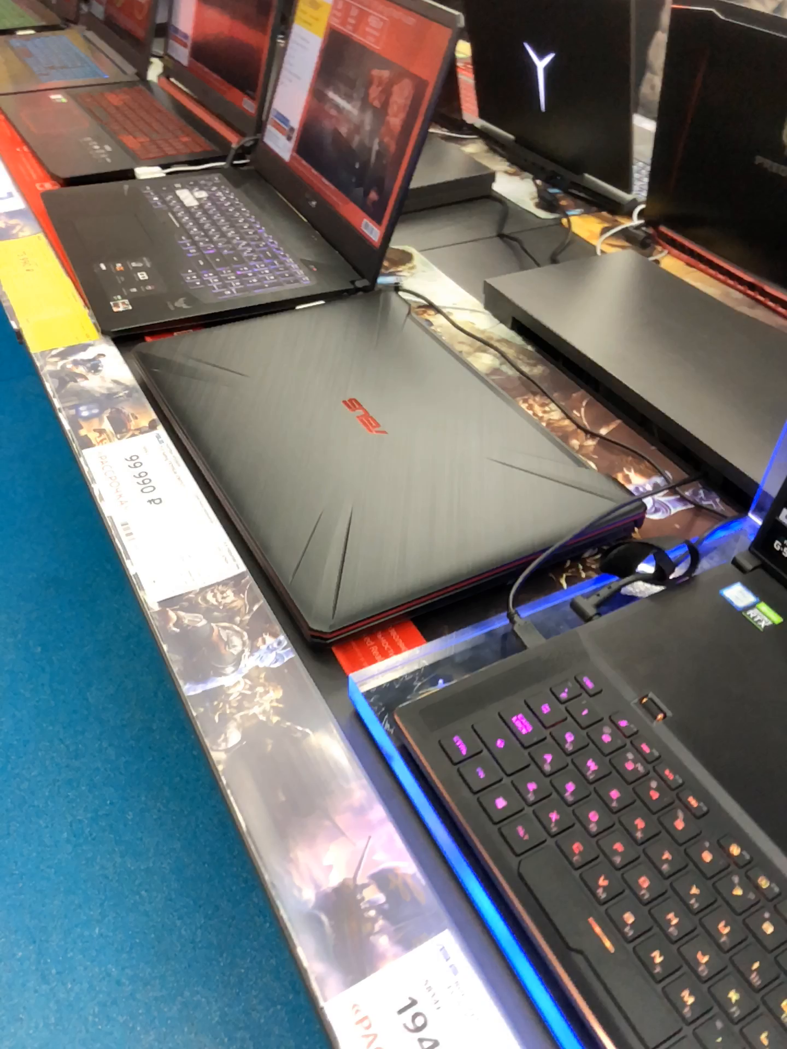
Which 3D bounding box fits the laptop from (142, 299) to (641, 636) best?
[{"bbox_3d":[-0.024,-0.082,0.705,0.252,0.002,0.389,-18,44,-24],"label":"laptop"}]
